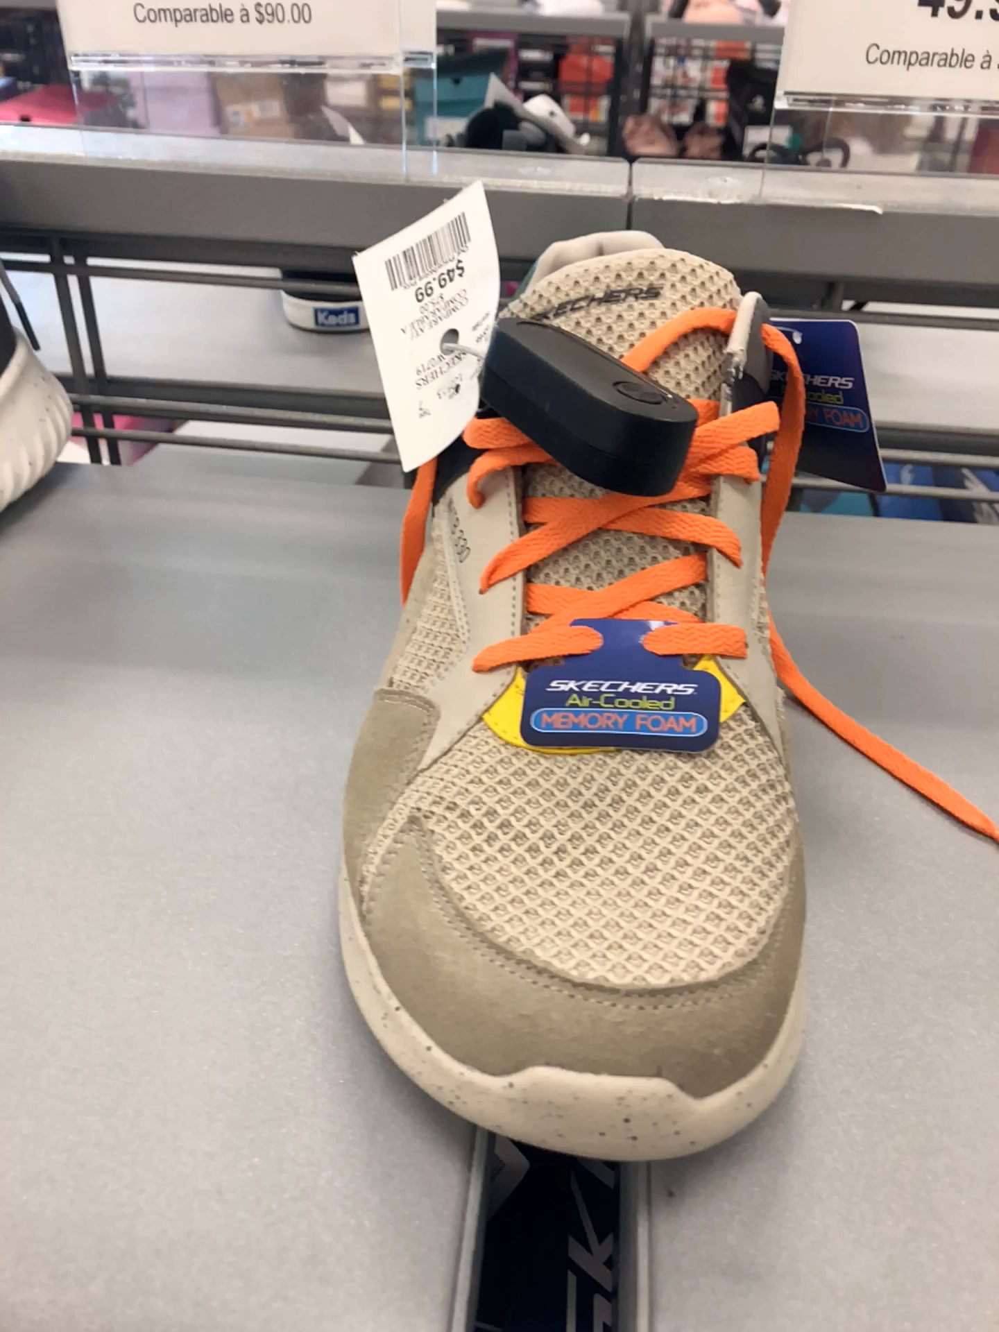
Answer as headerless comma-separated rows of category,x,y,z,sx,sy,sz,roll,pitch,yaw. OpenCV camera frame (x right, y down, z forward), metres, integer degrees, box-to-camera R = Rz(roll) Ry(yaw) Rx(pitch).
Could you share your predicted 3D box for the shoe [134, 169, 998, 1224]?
shoe,0.018,-0.028,0.286,0.125,0.109,0.282,3,39,0
